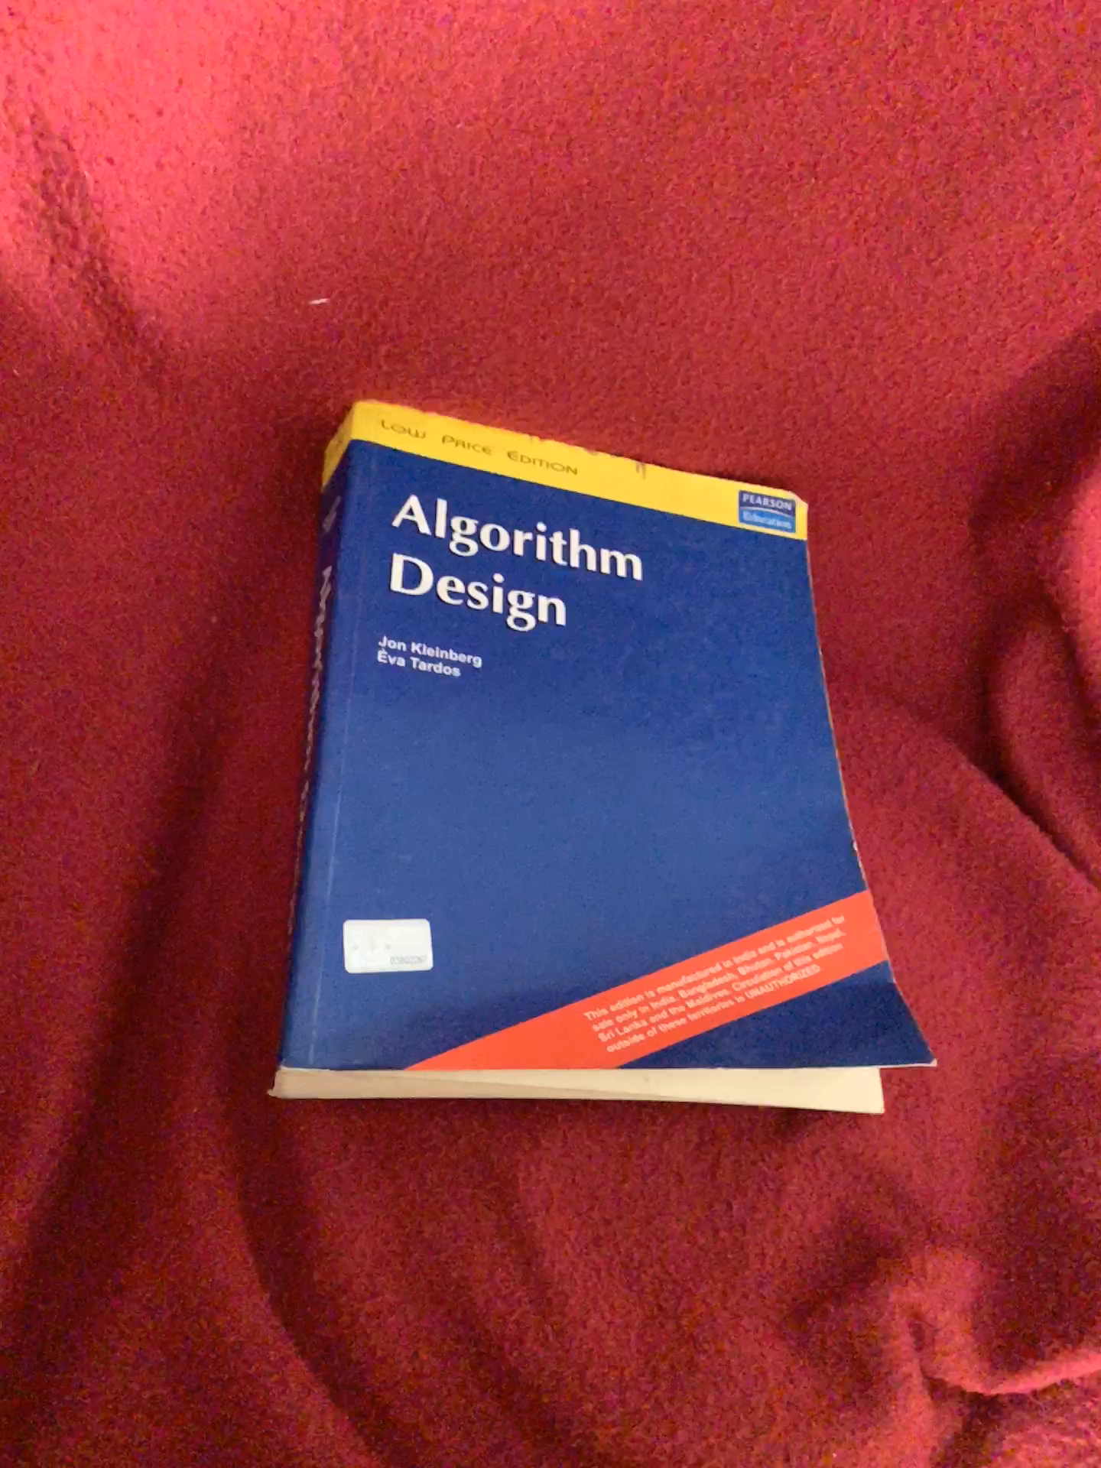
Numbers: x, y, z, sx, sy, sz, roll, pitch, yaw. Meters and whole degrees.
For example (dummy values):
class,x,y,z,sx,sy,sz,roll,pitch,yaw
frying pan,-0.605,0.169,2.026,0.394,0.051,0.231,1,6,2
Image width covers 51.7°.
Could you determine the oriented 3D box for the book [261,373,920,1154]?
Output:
class,x,y,z,sx,sy,sz,roll,pitch,yaw
book,0.011,0.009,0.401,0.190,0.060,0.251,9,60,-19
